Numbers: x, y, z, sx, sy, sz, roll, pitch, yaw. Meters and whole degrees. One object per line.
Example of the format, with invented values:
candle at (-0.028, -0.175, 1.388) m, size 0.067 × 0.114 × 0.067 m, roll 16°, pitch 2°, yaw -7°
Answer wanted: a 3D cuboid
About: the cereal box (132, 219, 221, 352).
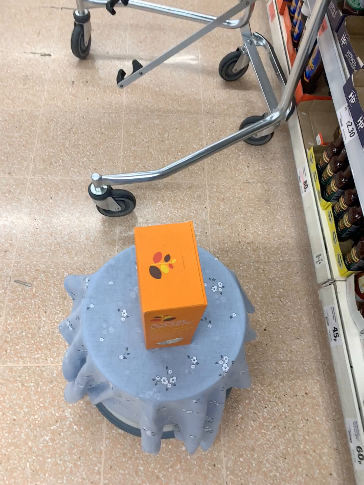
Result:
cereal box at (-0.017, 0.077, 0.556) m, size 0.090 × 0.229 × 0.121 m, roll -7°, pitch 66°, yaw -8°
